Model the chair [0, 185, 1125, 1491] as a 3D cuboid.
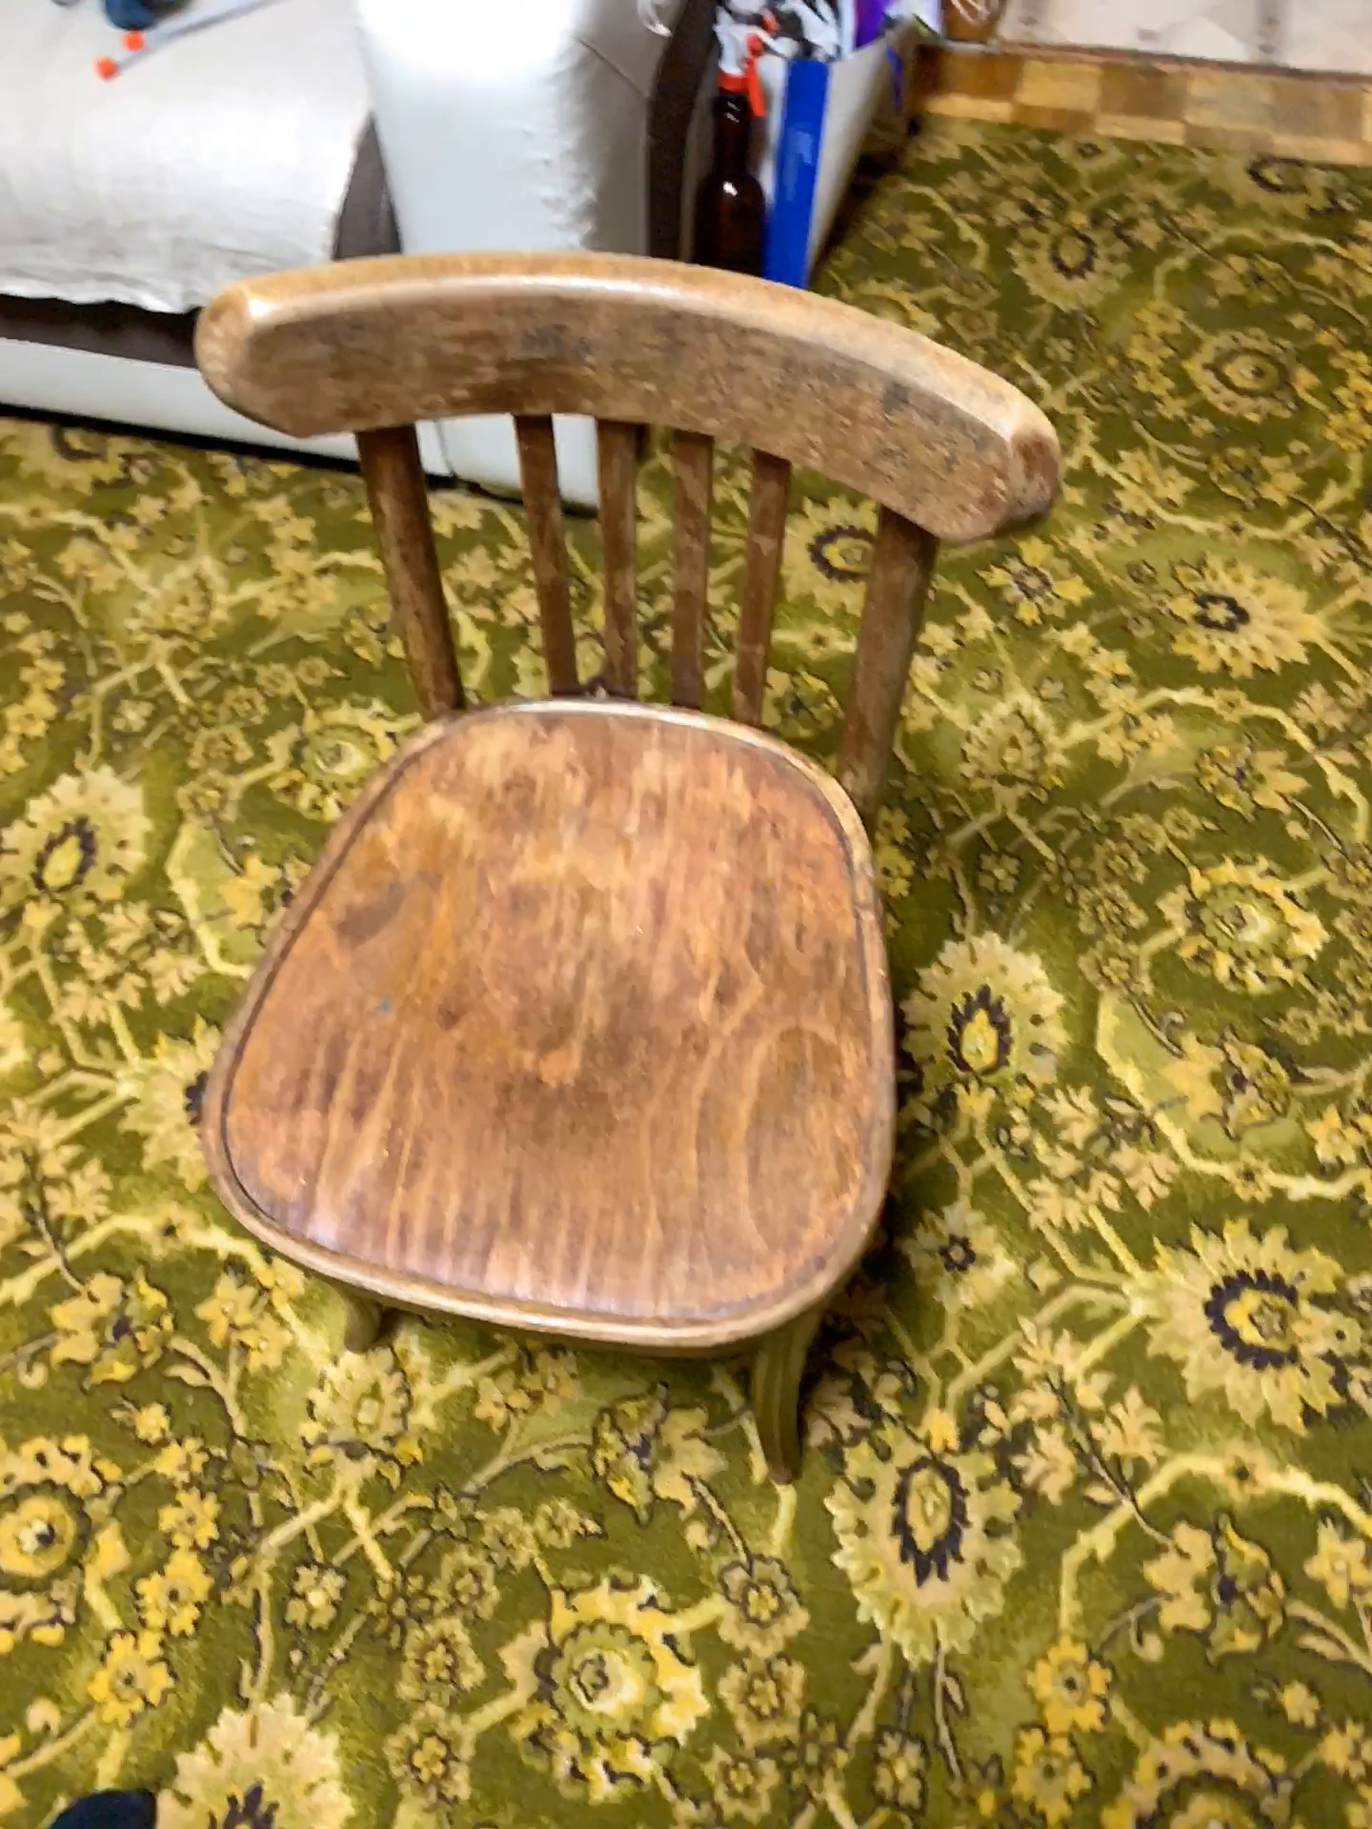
[{"bbox_3d":[-0.055,0.051,0.859,0.399,0.736,0.412,13,64,8],"label":"chair"}]
